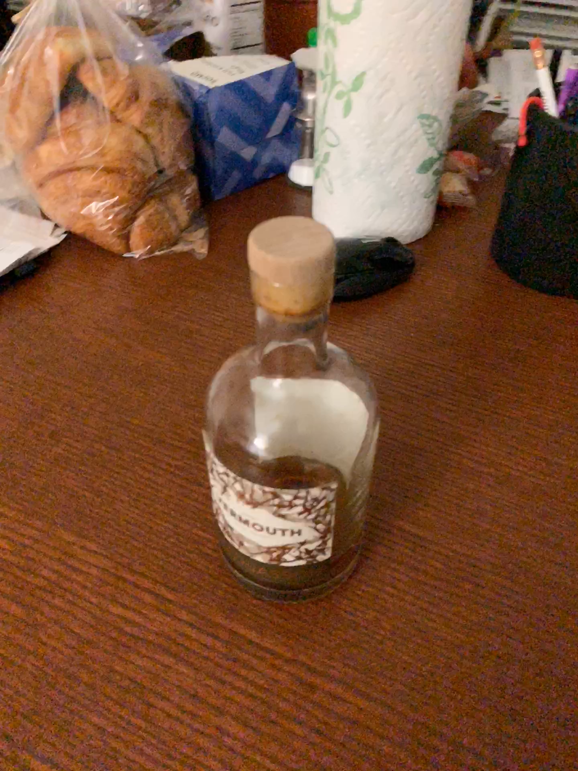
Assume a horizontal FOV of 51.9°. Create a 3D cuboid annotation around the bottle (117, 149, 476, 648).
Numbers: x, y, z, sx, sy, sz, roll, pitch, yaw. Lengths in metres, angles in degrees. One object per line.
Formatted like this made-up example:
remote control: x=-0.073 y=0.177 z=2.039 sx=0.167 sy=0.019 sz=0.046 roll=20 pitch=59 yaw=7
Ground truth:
bottle: x=0.005 y=0.015 z=0.254 sx=0.090 sy=0.189 sz=0.080 roll=18 pitch=45 yaw=18
